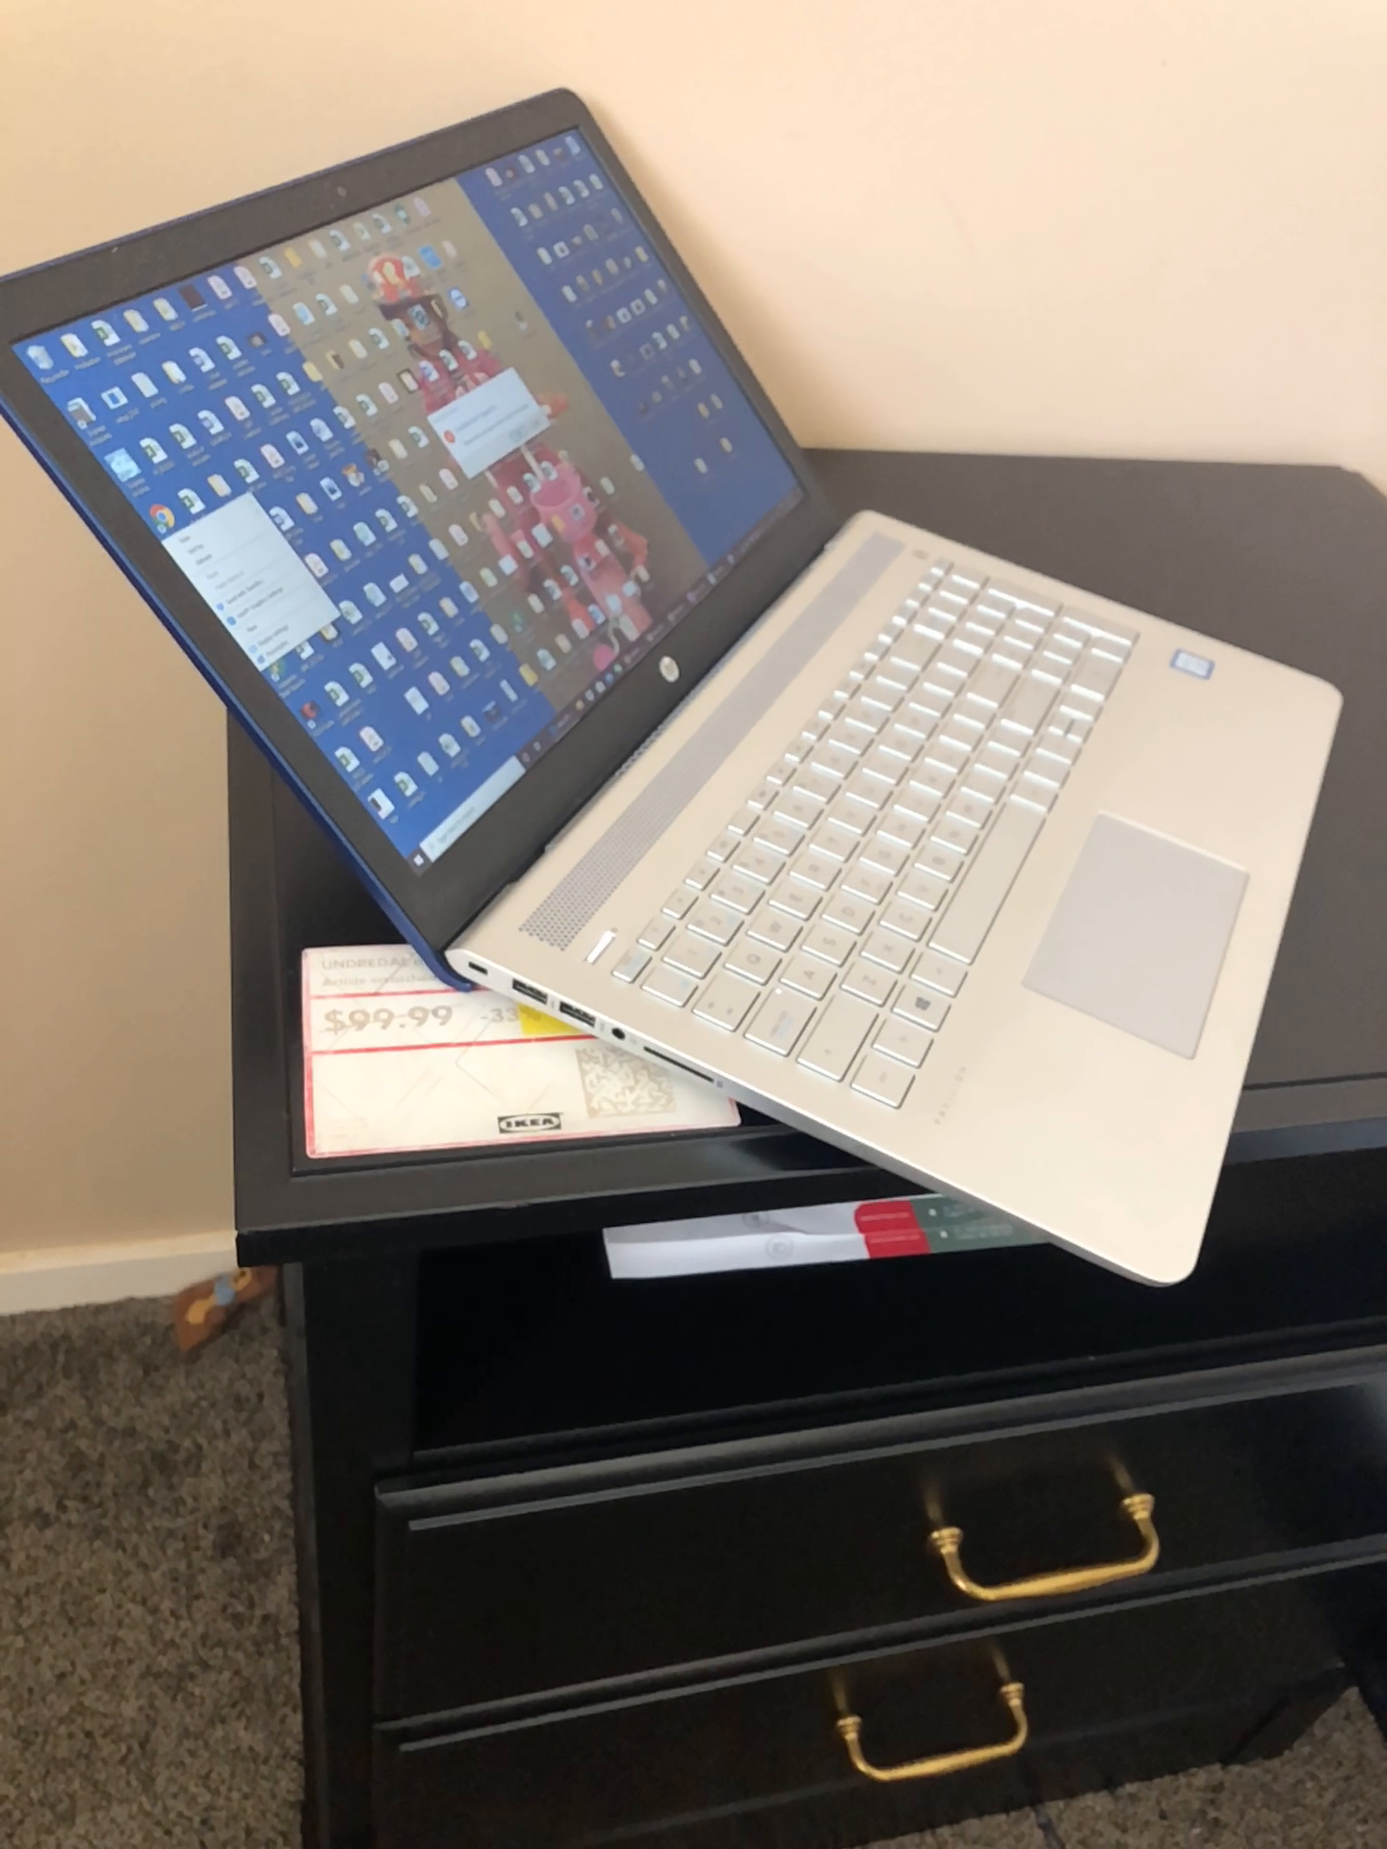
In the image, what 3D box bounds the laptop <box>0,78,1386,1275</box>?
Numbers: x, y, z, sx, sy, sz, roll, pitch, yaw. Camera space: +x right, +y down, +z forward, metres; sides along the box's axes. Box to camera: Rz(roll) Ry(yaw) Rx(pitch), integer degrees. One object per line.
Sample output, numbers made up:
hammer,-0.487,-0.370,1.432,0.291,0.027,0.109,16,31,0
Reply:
laptop,0.038,-0.140,0.551,0.400,0.141,0.367,24,43,12
